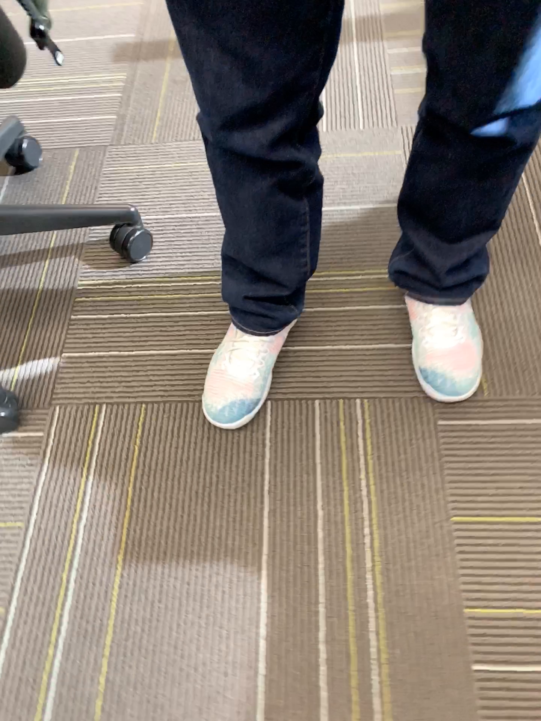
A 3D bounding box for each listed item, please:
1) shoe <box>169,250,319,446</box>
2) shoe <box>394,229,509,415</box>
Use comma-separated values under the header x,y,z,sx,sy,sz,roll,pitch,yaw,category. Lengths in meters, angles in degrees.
x,y,z,sx,sy,sz,roll,pitch,yaw,category
-0.032,-0.026,0.874,0.118,0.088,0.283,19,66,16,shoe
0.275,-0.065,0.873,0.122,0.078,0.290,-3,61,7,shoe
